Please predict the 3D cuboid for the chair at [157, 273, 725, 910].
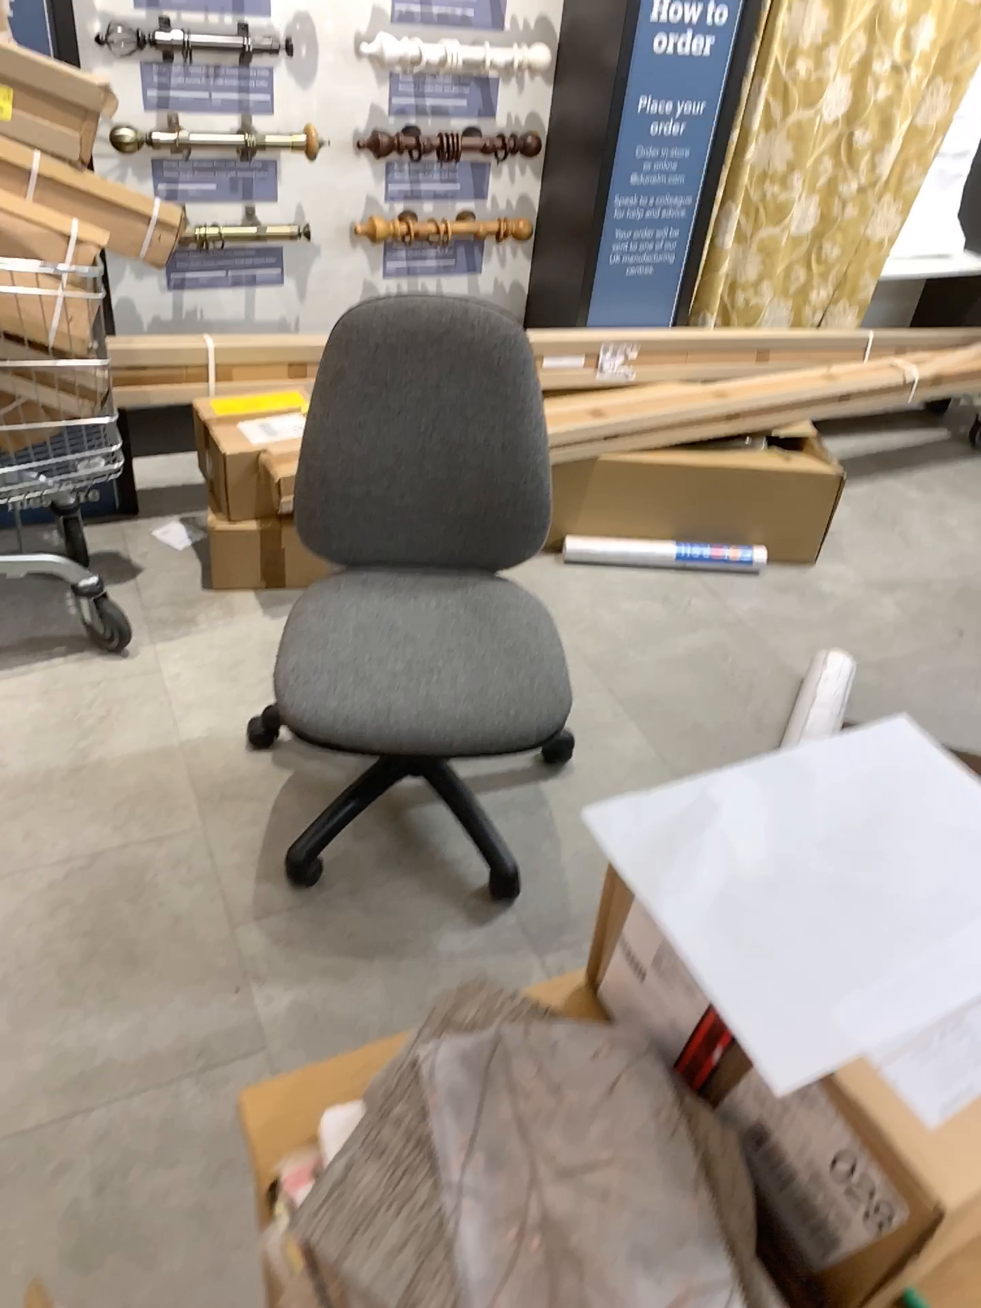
[{"bbox_3d":[-0.108,-0.092,1.571,0.627,0.749,0.630,2,38,-7],"label":"chair"}]
